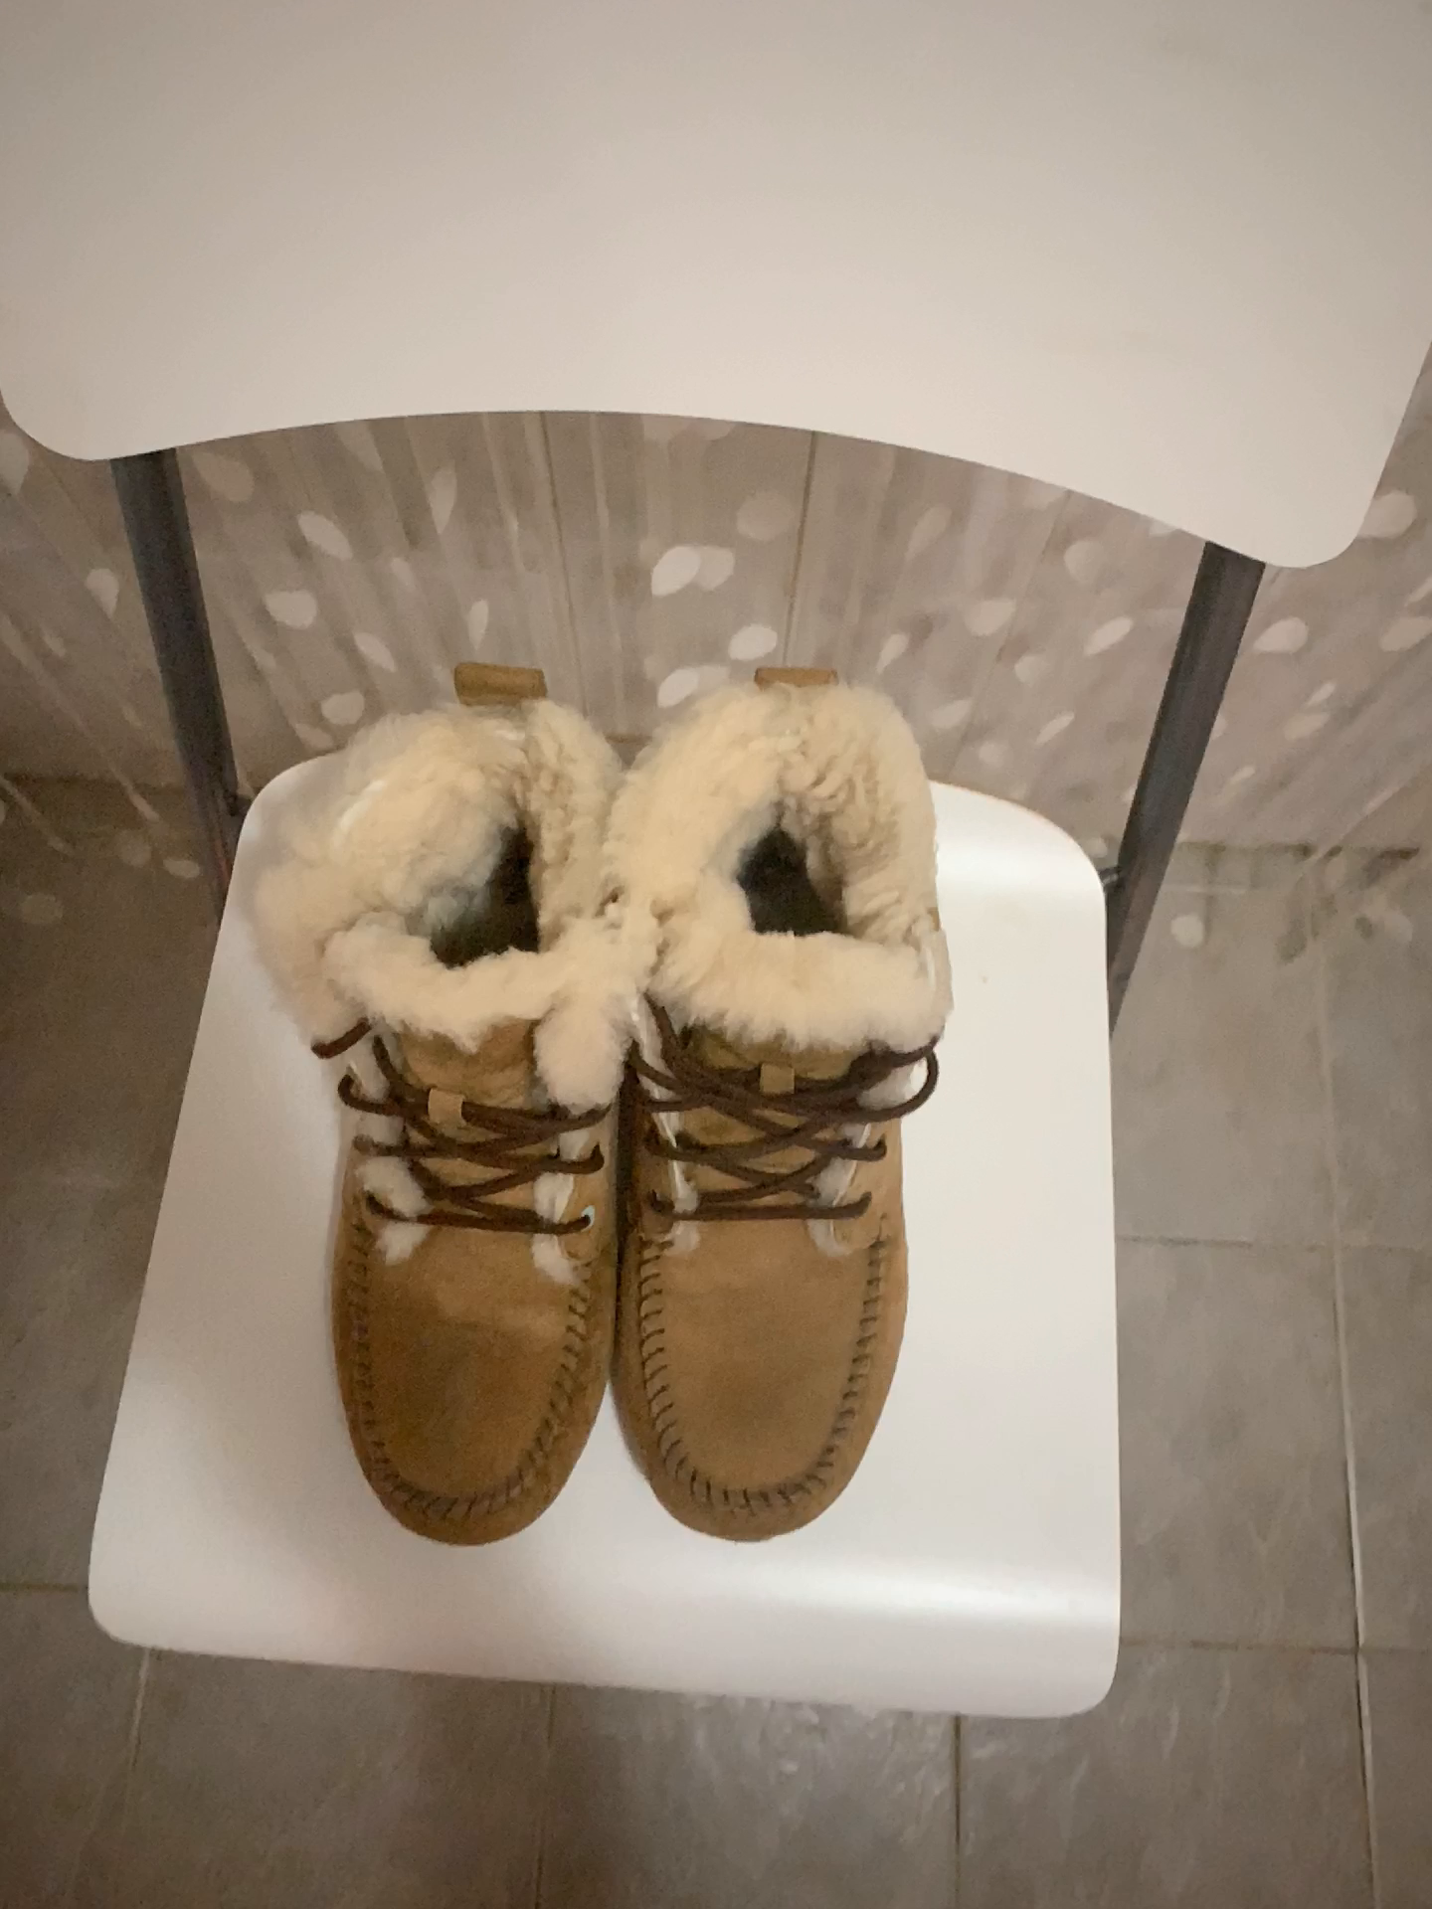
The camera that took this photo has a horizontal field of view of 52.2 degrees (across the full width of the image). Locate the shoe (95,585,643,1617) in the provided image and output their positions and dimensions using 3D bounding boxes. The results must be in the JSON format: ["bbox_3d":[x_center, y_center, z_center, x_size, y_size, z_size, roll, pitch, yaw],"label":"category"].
[{"bbox_3d":[-0.082,0.045,0.431,0.106,0.156,0.251,2,74,-1],"label":"shoe"}]

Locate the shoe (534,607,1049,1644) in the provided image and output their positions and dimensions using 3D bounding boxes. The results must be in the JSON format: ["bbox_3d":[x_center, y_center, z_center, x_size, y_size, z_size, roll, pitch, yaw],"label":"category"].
[{"bbox_3d":[0.018,0.052,0.432,0.113,0.157,0.251,2,74,-1],"label":"shoe"}]
